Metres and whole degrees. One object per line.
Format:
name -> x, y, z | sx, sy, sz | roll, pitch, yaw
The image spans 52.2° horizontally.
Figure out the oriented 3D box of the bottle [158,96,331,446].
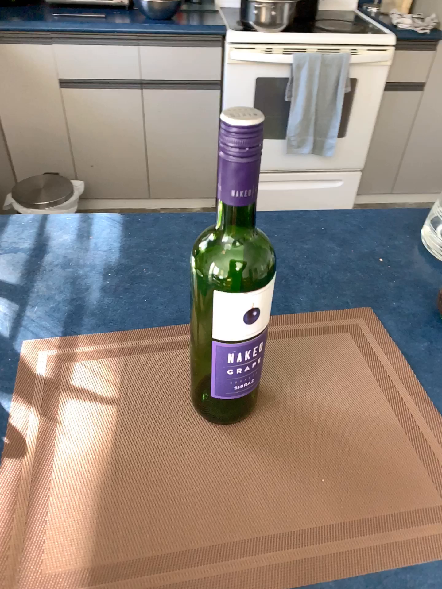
bottle -> 0.008, 0.000, 0.379 | 0.080, 0.287, 0.081 | 2, 41, -1
